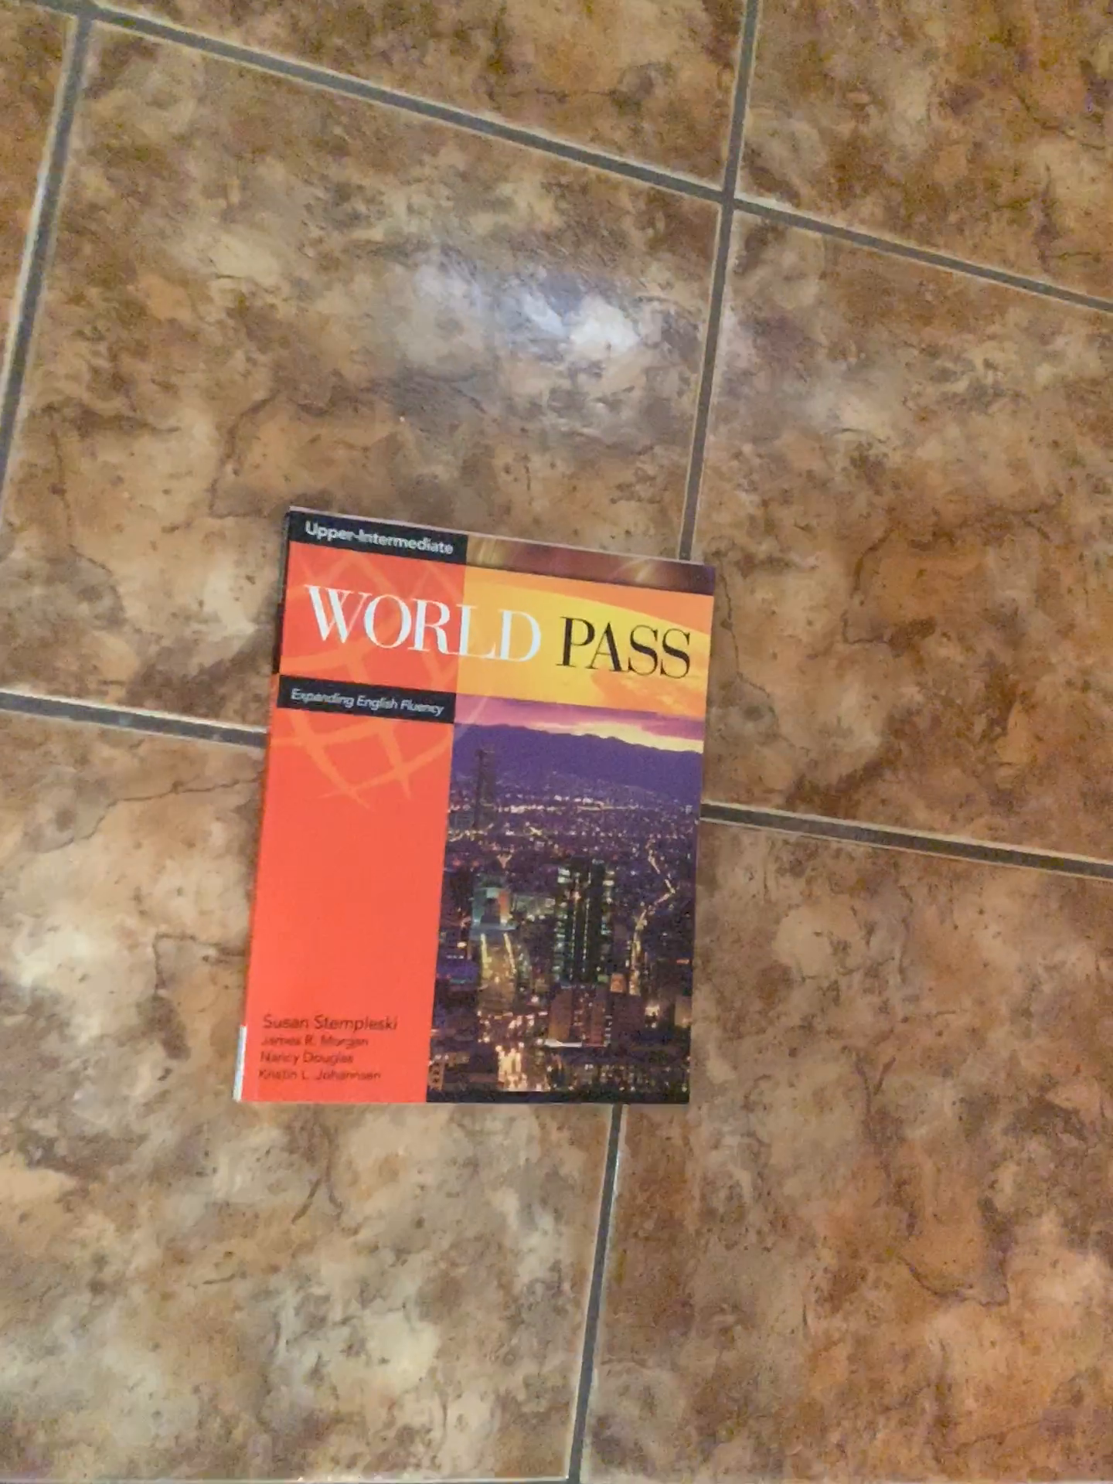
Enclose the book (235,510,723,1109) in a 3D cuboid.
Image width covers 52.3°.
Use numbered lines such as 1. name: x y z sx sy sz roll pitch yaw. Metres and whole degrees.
1. book: -0.030 0.036 0.548 0.219 0.016 0.271 5 83 -14
